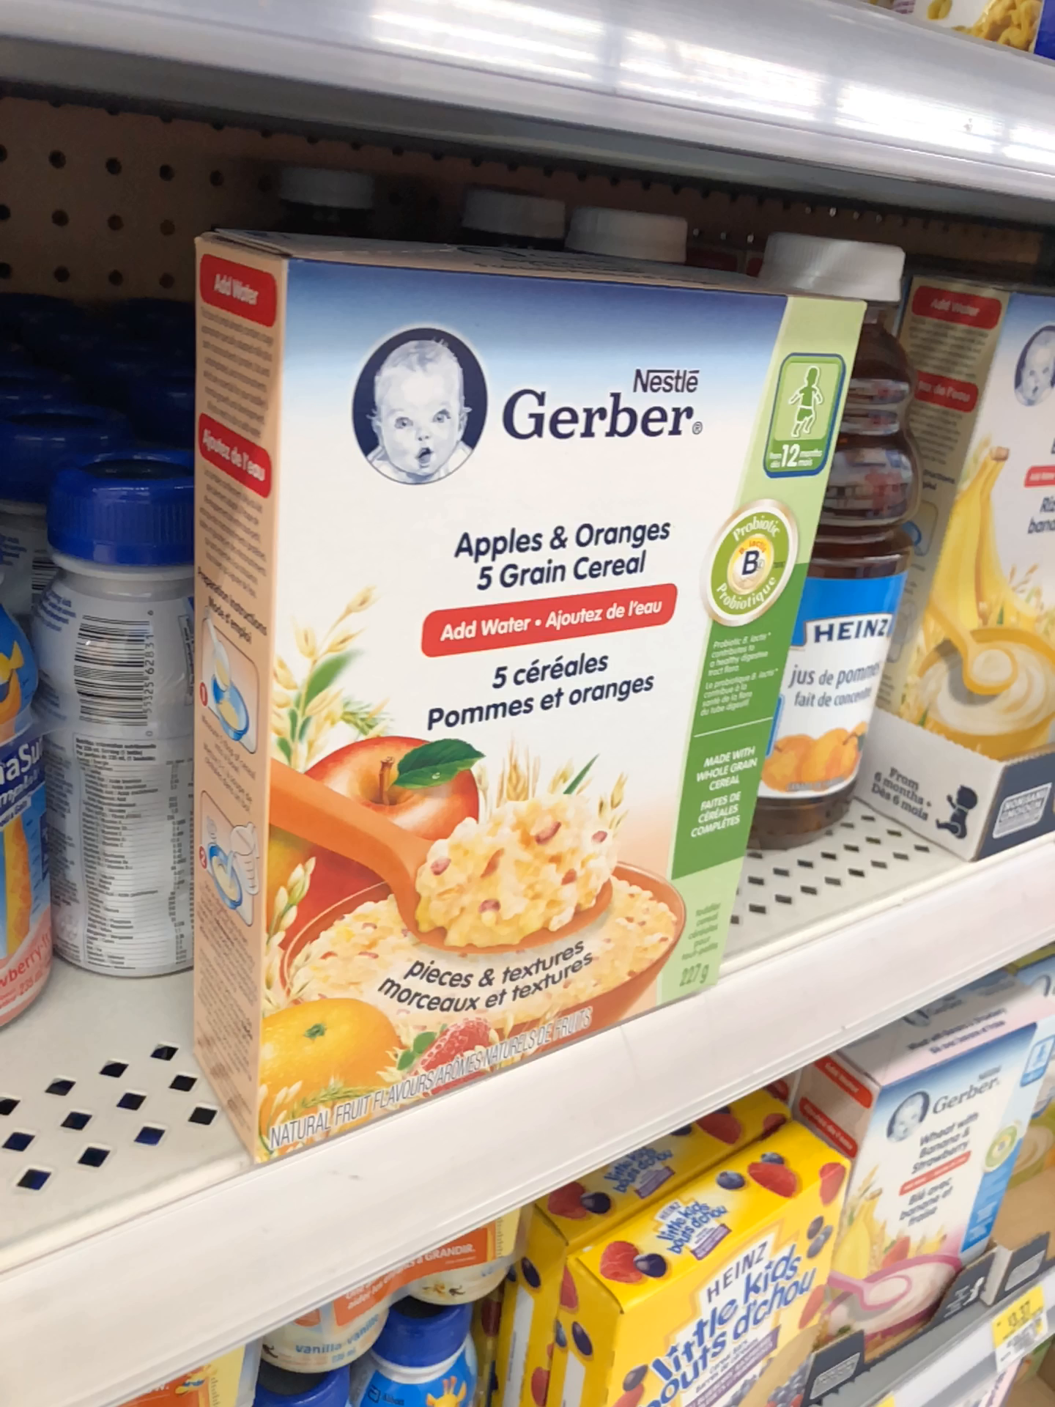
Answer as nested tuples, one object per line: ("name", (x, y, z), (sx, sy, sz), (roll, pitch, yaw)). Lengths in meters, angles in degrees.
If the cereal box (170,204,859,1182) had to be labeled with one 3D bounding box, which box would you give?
("cereal box", (-0.007, -0.004, 0.283), (0.140, 0.199, 0.050), (-10, 29, -36))
